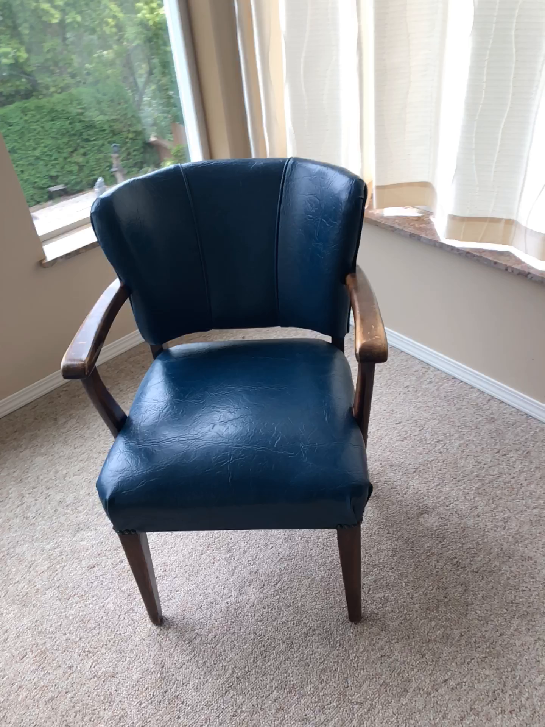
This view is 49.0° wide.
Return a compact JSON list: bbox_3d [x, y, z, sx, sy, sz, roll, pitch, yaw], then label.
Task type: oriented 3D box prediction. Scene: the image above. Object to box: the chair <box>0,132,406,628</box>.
[{"bbox_3d":[-0.058,0.054,1.201,0.530,0.797,0.562,-3,38,5],"label":"chair"}]
